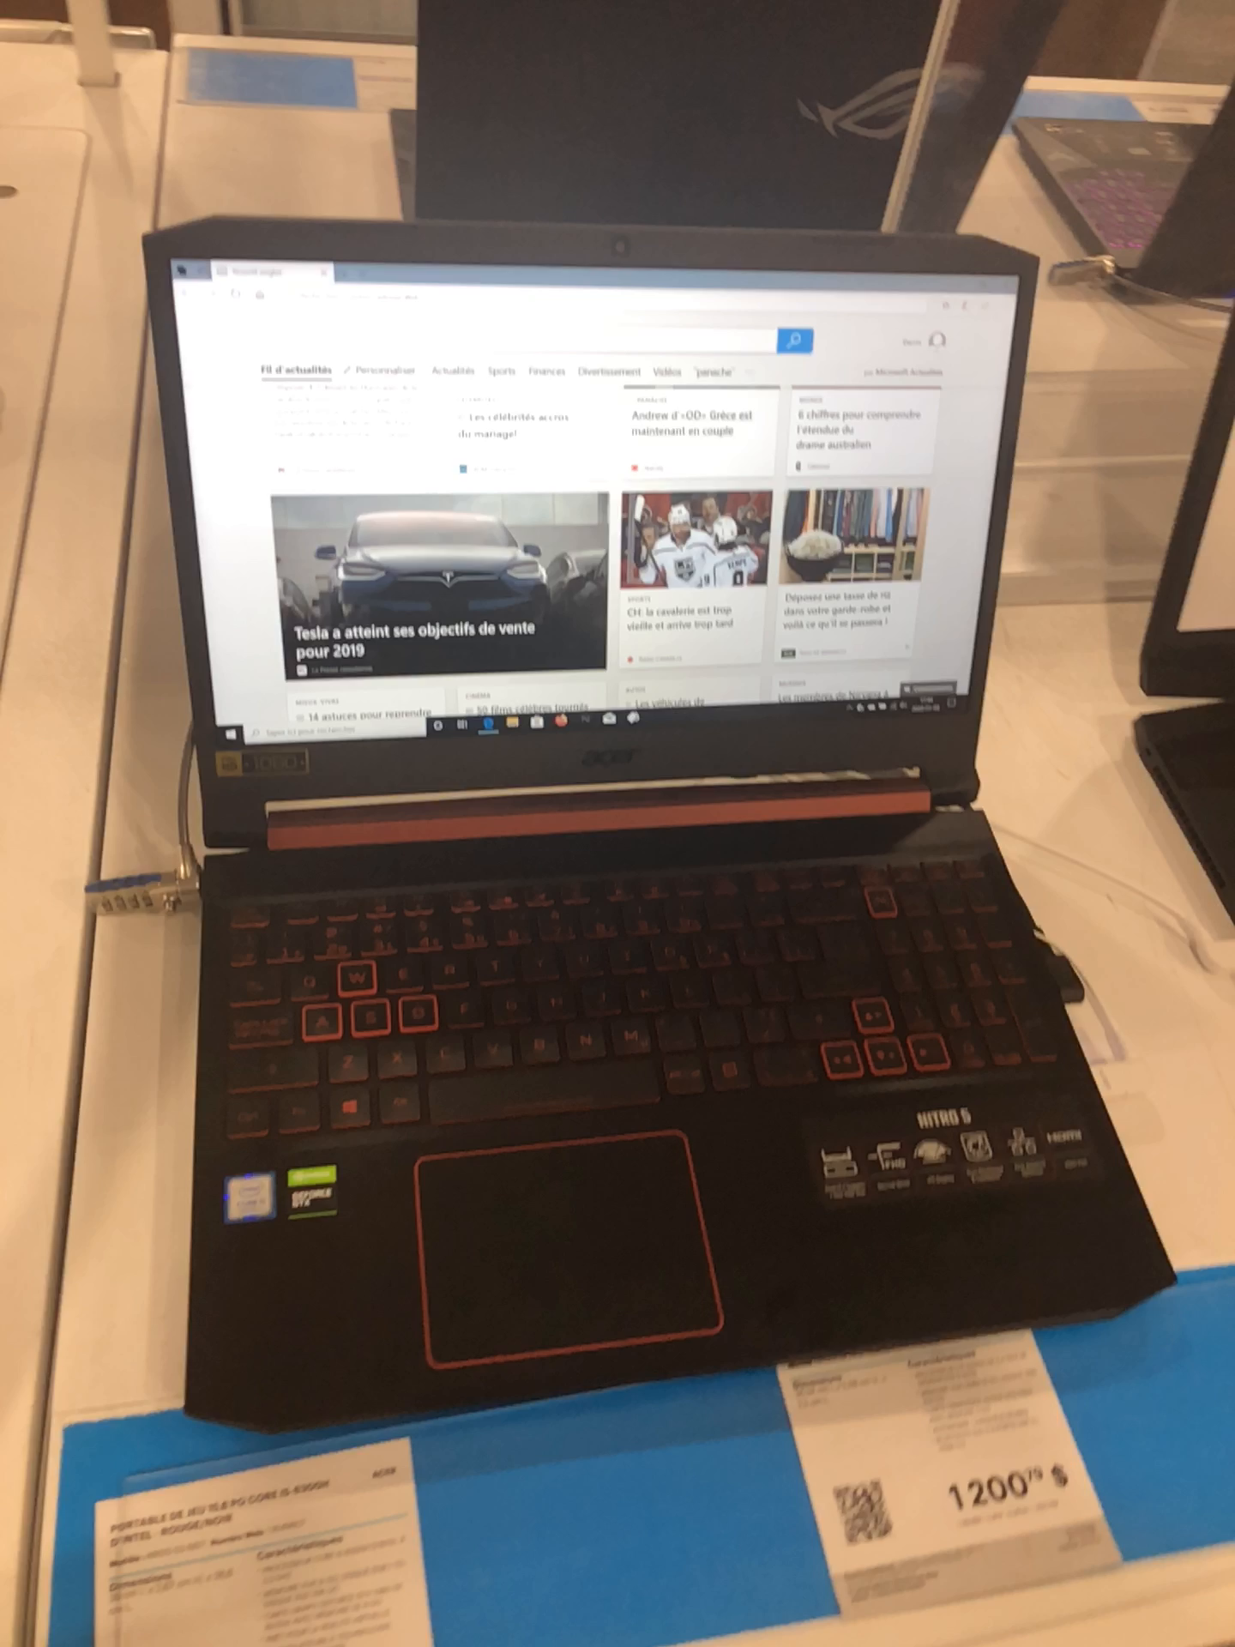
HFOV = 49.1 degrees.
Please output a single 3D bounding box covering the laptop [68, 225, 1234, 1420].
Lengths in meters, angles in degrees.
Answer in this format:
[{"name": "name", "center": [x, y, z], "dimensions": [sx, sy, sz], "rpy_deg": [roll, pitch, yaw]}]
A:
[{"name": "laptop", "center": [0.020, -0.023, 0.504], "dimensions": [0.357, 0.211, 0.359], "rpy_deg": [-4, 52, -11]}]
